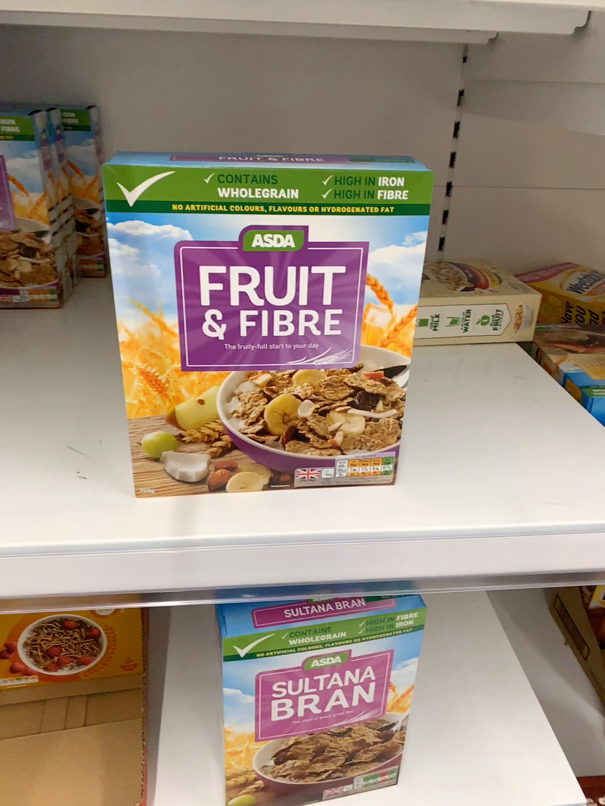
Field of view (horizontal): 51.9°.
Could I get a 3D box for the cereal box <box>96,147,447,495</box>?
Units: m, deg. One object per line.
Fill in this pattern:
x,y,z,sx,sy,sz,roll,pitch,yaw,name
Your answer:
-0.025,-0.061,0.501,0.230,0.258,0.081,-1,28,-7,cereal box
